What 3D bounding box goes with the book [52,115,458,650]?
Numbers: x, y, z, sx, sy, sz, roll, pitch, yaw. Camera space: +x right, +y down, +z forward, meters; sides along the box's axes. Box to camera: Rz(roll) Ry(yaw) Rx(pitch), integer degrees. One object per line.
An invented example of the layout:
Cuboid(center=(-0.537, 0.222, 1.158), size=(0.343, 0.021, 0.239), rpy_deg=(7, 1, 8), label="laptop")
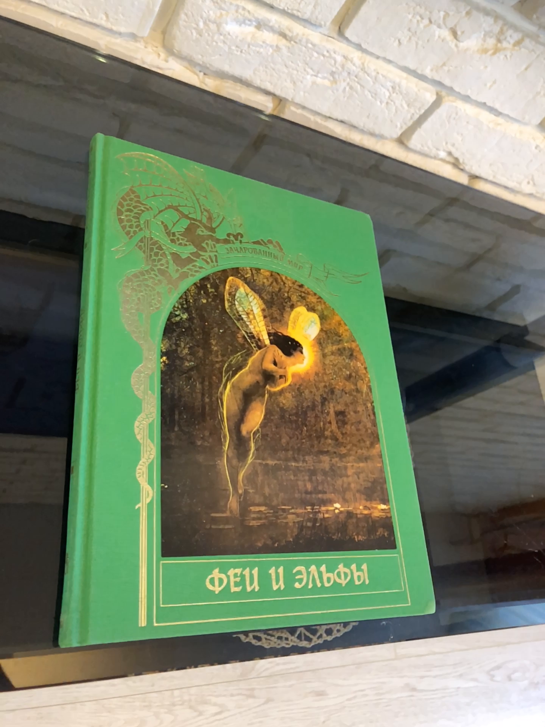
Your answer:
Cuboid(center=(-0.006, 0.003, 0.365), size=(0.217, 0.030, 0.291), rpy_deg=(9, 62, -28), label="book")
